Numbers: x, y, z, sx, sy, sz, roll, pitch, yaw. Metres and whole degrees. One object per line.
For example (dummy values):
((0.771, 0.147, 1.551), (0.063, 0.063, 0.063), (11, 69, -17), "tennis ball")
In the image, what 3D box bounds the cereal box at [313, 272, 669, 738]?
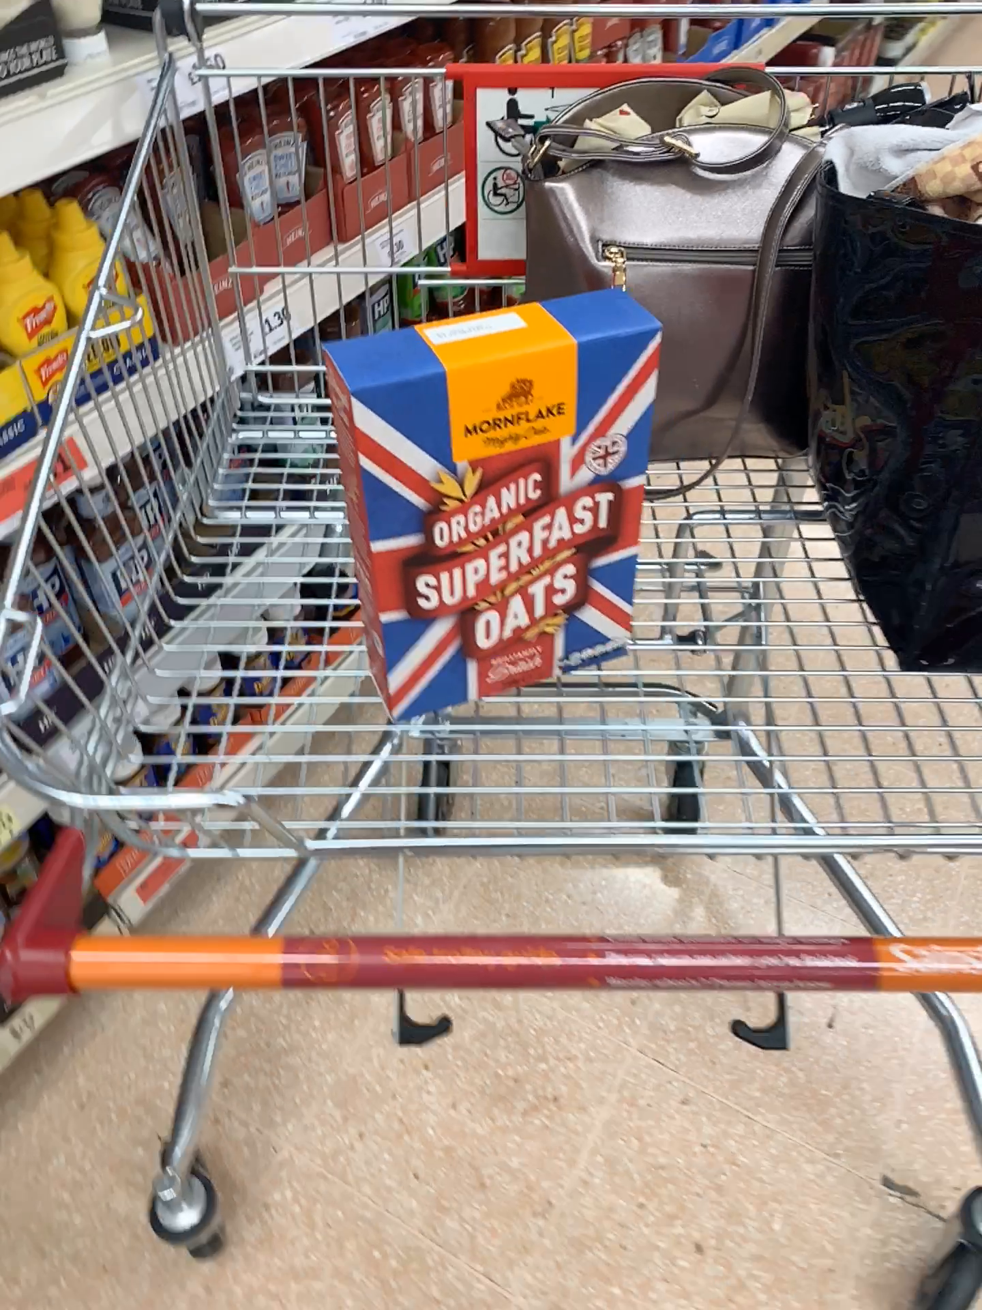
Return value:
((0.003, -0.081, 0.611), (0.180, 0.258, 0.050), (-16, 45, -16), "cereal box")
